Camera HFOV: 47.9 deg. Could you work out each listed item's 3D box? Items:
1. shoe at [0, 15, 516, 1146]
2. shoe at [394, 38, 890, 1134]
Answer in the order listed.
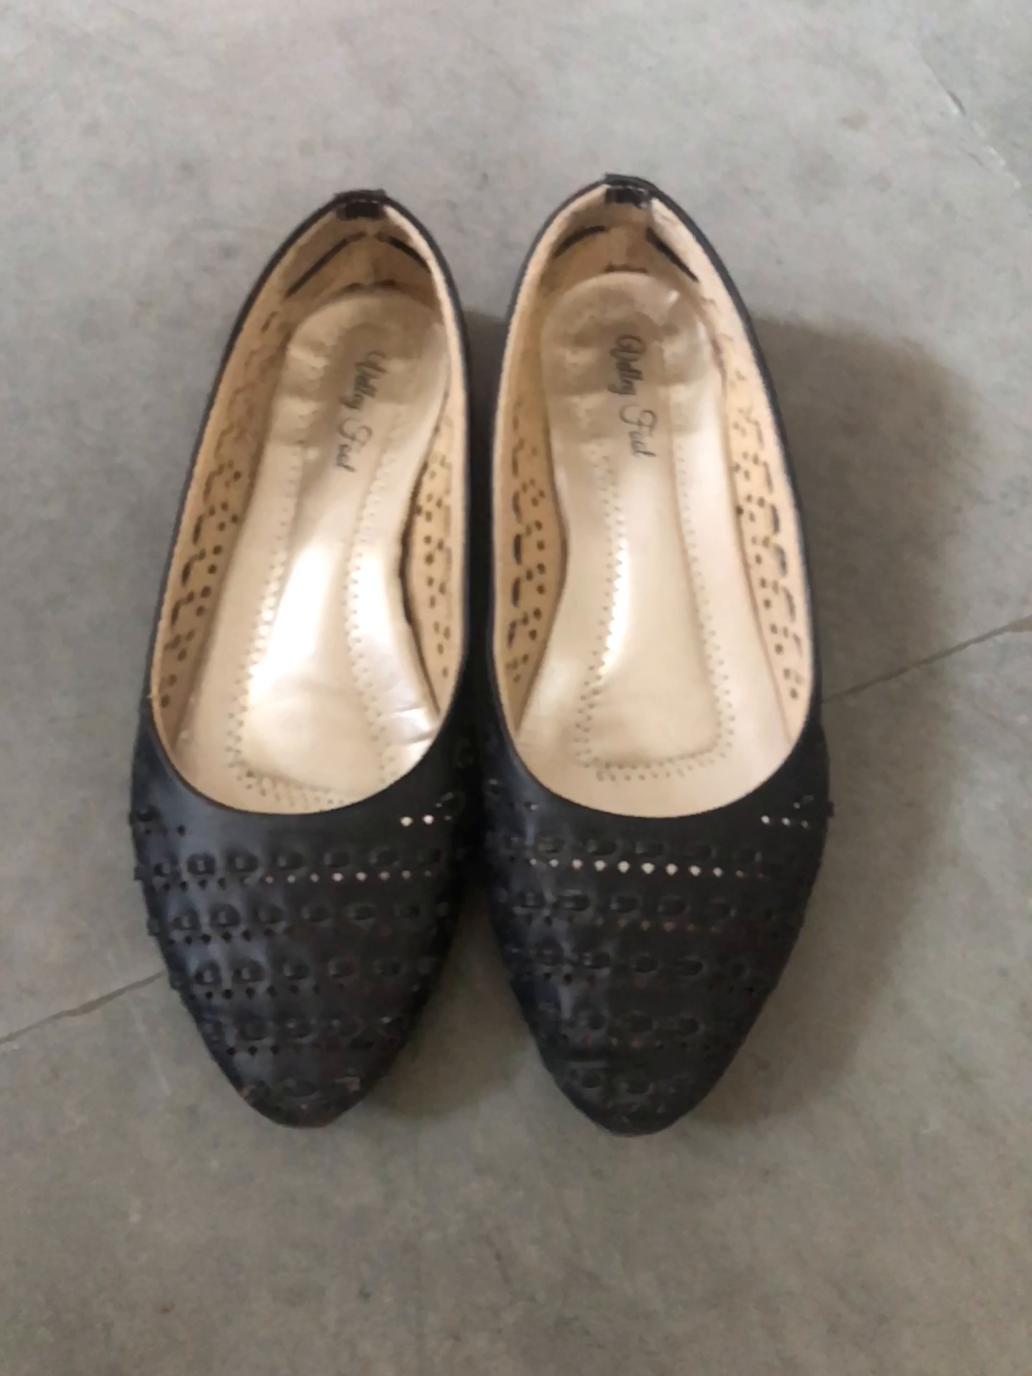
[{"bbox_3d":[-0.054,-0.031,0.302,0.100,0.070,0.270,0,78,3],"label":"shoe"},{"bbox_3d":[0.030,-0.034,0.311,0.100,0.070,0.280,0,72,3],"label":"shoe"}]
